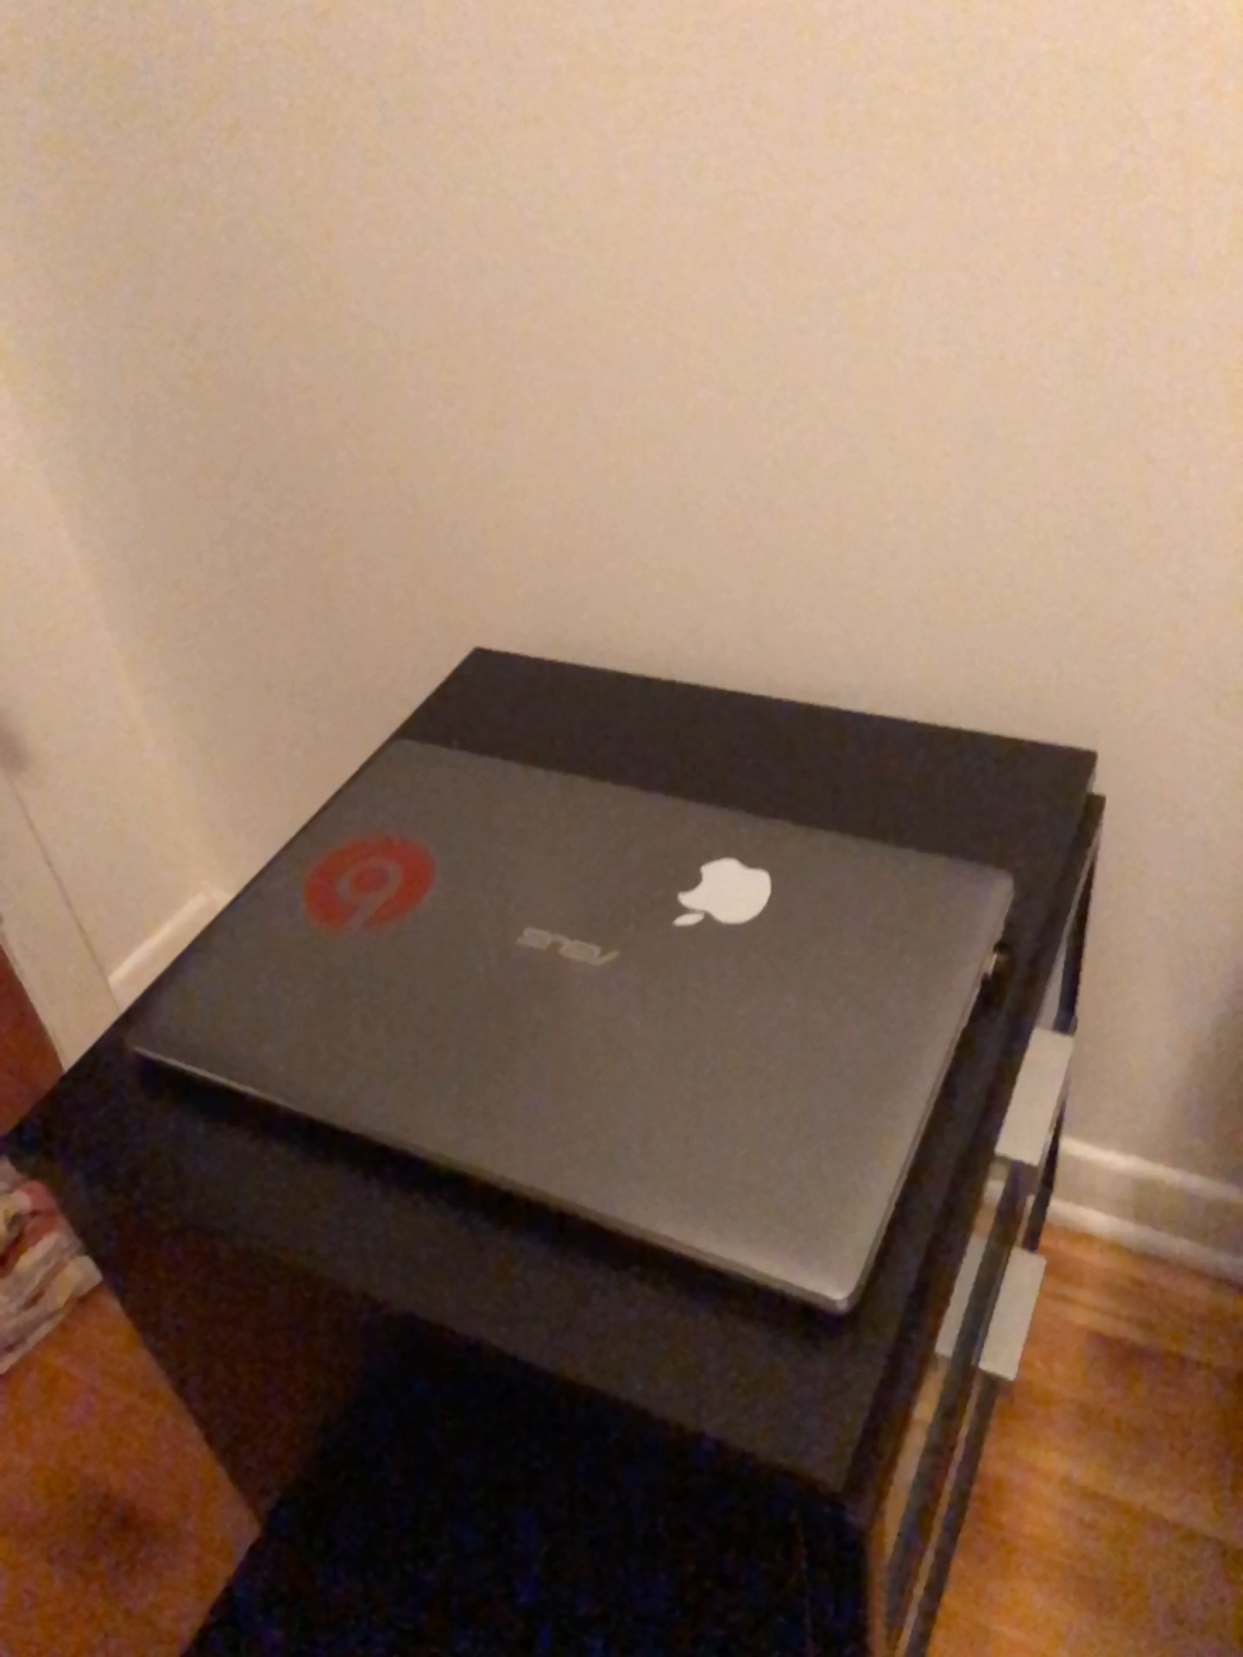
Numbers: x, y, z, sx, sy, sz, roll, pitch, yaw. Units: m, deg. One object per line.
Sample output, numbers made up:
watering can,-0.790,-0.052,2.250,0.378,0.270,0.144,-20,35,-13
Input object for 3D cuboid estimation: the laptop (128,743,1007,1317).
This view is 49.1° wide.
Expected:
laptop,-0.026,0.067,0.679,0.374,0.010,0.250,13,45,25
